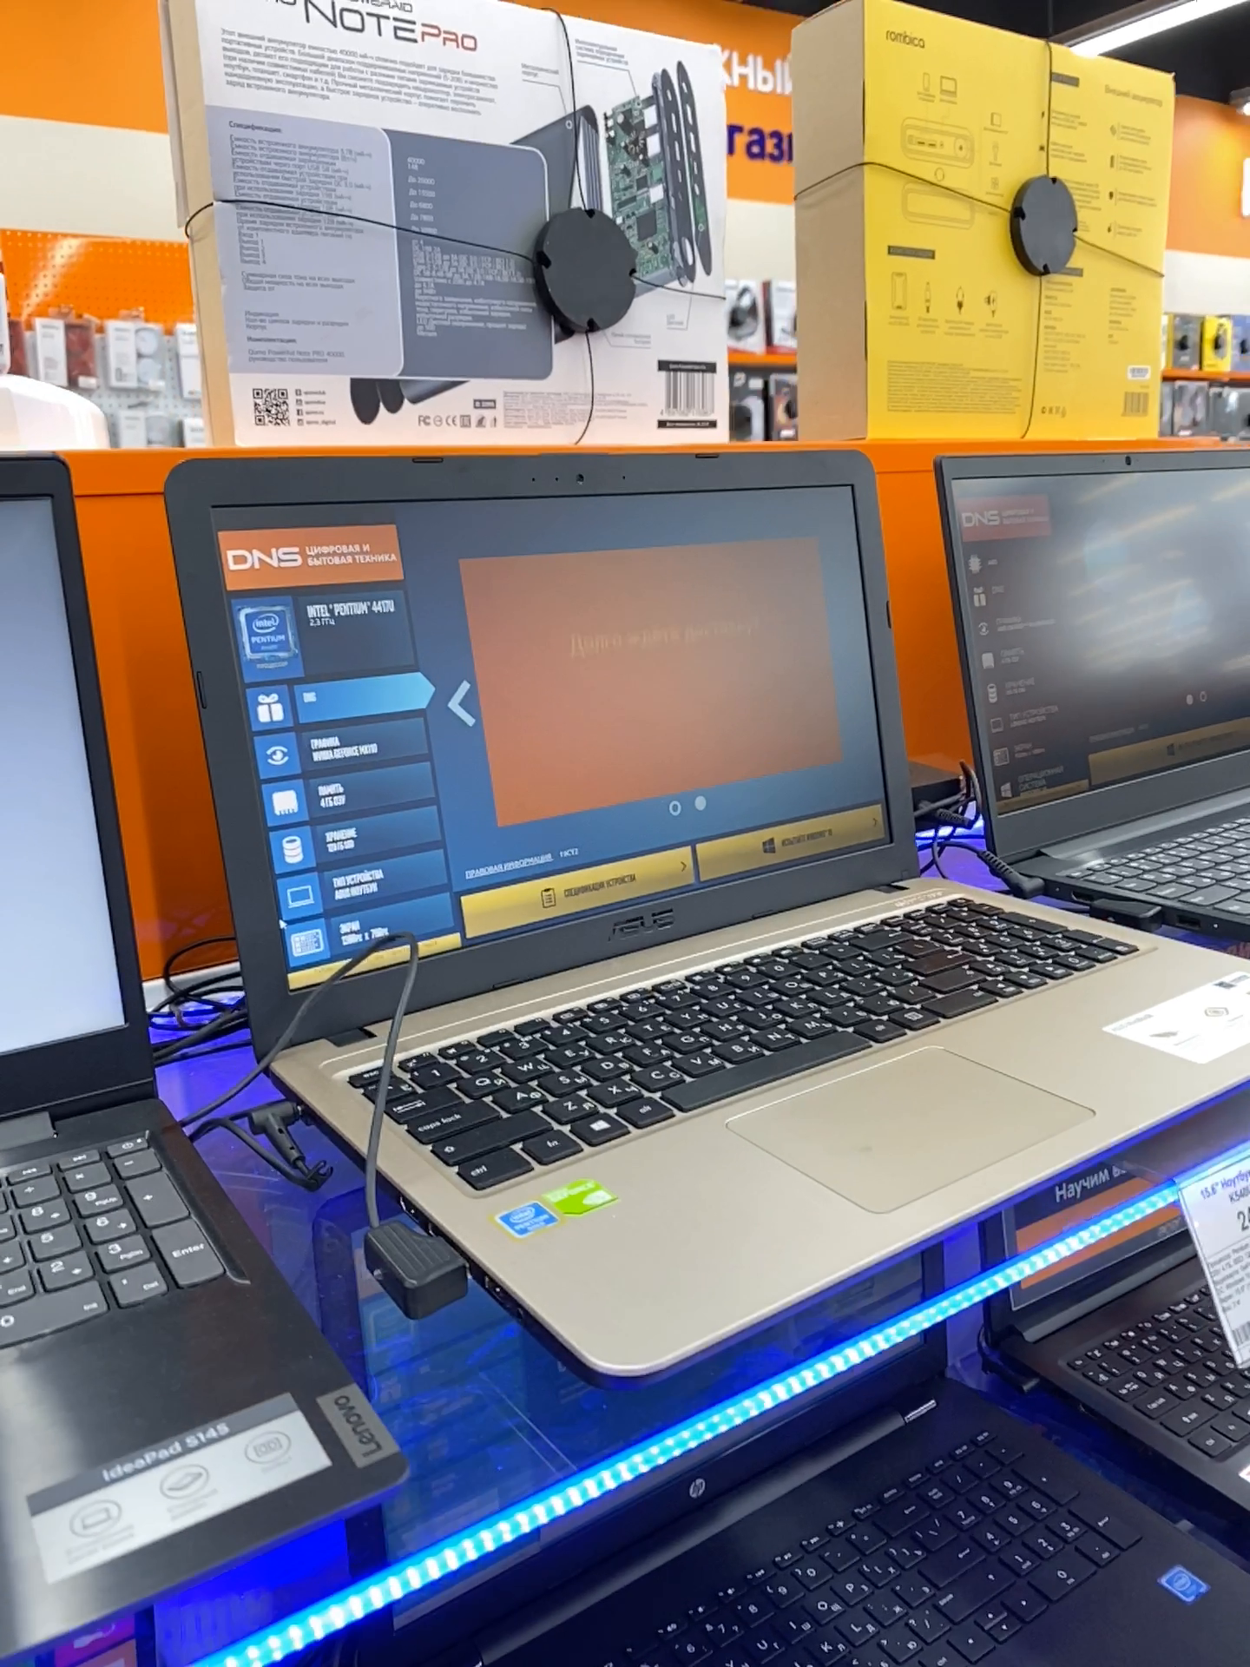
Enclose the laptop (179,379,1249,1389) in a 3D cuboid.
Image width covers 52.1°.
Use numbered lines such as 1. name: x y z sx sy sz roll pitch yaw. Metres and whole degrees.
1. laptop: 0.069 -0.035 0.504 0.376 0.230 0.294 -11 16 -33
